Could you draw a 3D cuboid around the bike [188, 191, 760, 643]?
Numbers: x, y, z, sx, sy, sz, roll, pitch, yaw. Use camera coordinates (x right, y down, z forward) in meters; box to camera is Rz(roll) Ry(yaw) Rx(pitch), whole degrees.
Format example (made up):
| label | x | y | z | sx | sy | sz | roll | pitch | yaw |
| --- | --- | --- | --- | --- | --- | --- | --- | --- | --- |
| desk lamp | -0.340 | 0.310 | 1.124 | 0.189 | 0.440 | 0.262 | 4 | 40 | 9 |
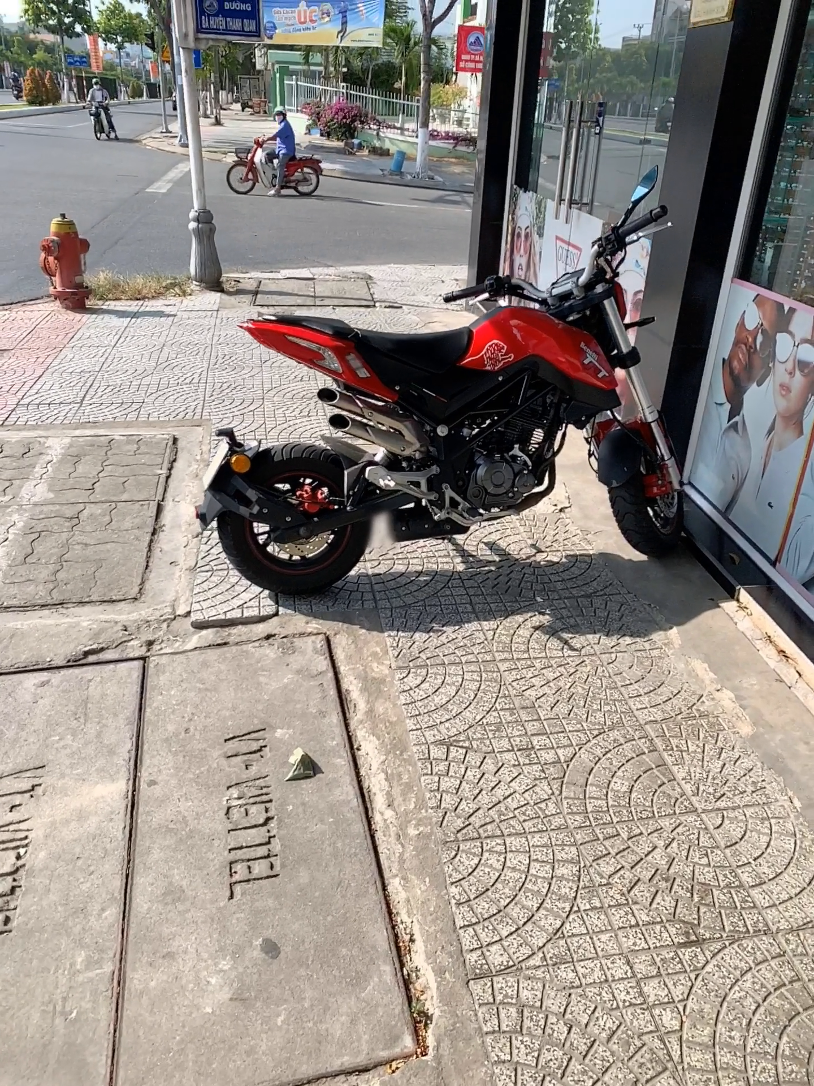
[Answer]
| label | x | y | z | sx | sy | sz | roll | pitch | yaw |
| --- | --- | --- | --- | --- | --- | --- | --- | --- | --- |
| bike | 0.274 | -0.635 | 3.183 | 2.122 | 1.216 | 0.835 | -12 | 30 | -27 |
